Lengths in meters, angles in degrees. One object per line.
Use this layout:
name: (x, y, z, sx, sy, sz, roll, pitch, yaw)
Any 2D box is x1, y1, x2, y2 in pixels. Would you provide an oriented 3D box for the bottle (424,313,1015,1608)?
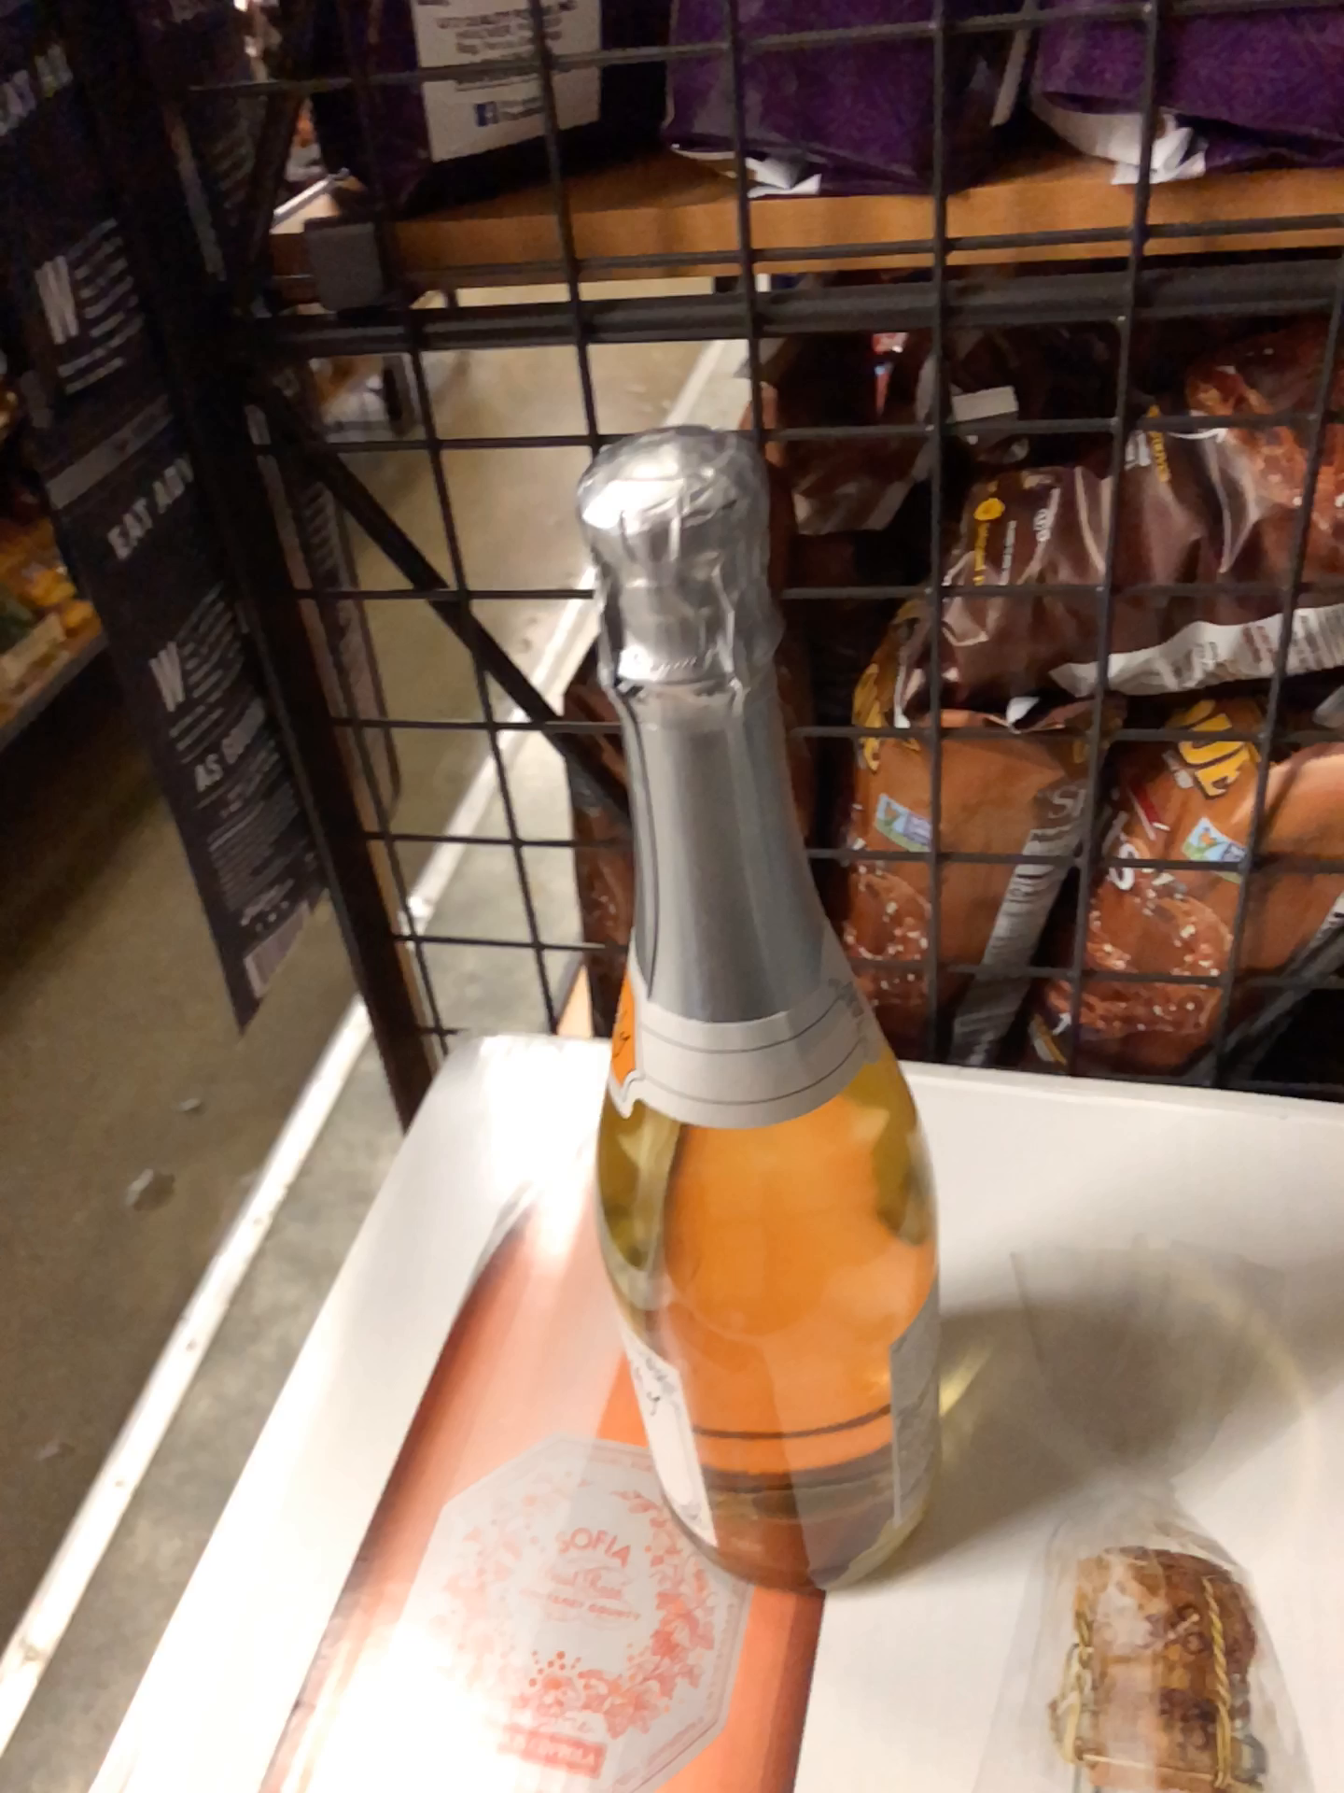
bottle: (0.025, 0.044, 0.344, 0.086, 0.319, 0.078, -2, 37, 7)
